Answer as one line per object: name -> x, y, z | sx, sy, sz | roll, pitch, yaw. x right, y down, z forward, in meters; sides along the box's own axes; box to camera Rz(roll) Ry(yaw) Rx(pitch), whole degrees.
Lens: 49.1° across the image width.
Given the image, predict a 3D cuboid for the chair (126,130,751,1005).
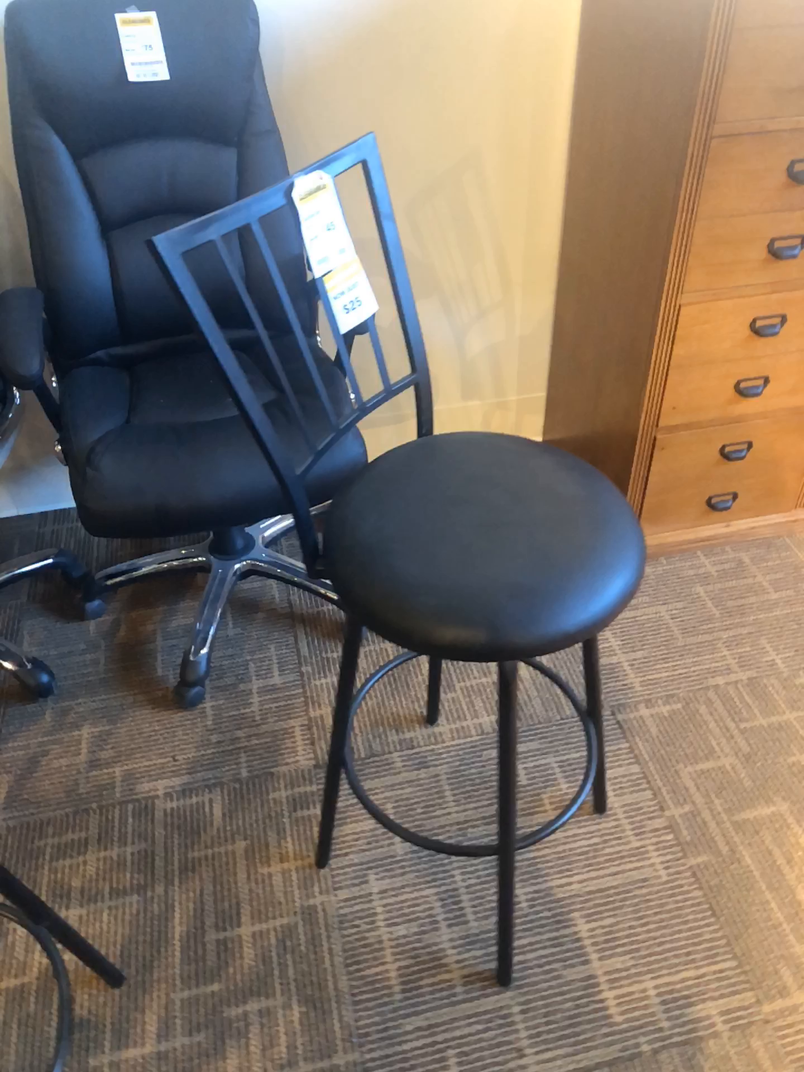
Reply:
chair -> 0.066, 0.092, 1.221 | 0.480, 1.074, 0.432 | 19, 44, 24
